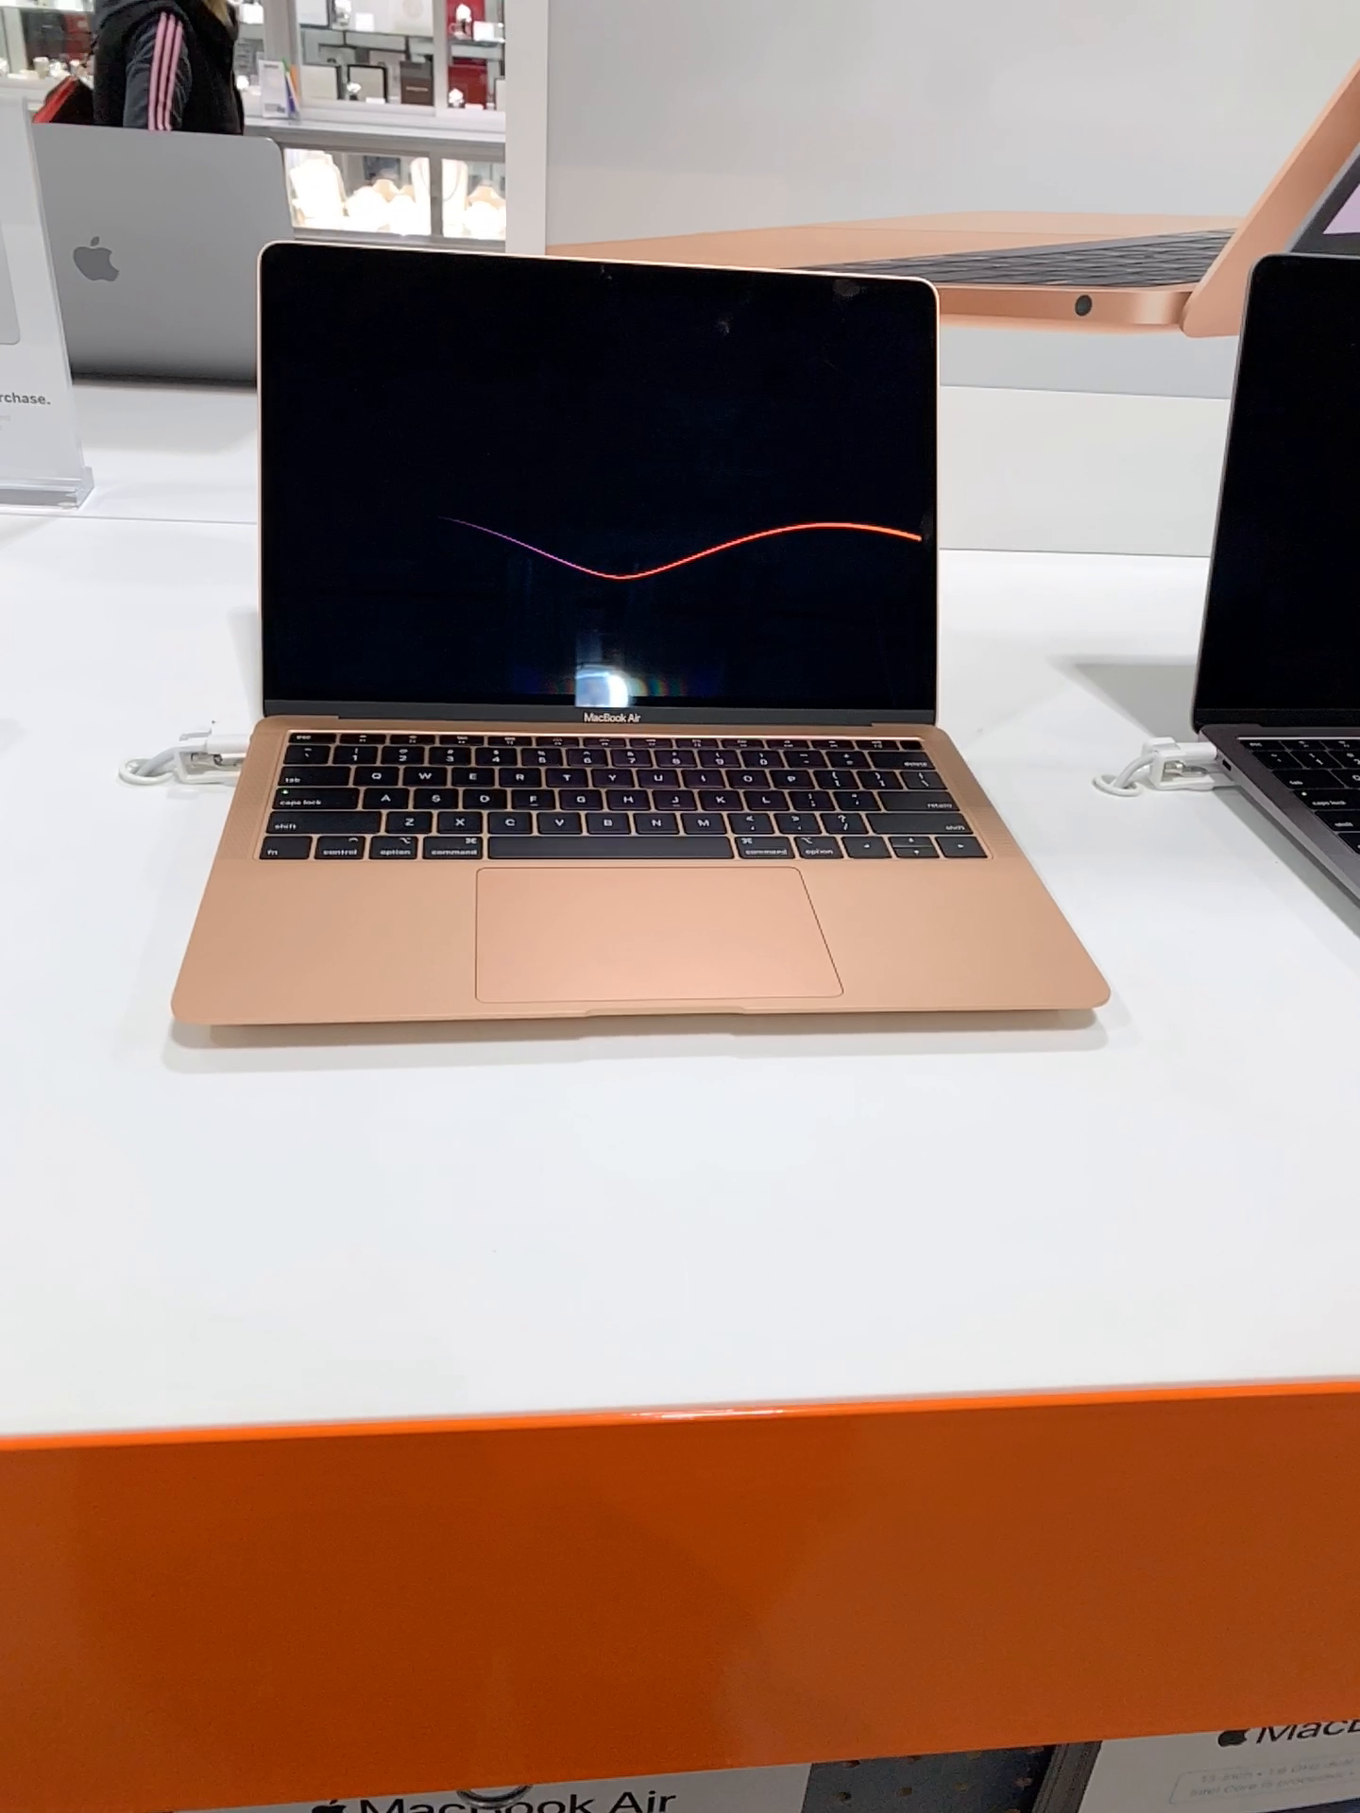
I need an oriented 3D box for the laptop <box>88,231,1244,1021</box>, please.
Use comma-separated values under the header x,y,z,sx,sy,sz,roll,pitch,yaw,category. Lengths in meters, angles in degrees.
x,y,z,sx,sy,sz,roll,pitch,yaw,category
-0.019,-0.126,0.522,0.293,0.170,0.311,0,33,-8,laptop
